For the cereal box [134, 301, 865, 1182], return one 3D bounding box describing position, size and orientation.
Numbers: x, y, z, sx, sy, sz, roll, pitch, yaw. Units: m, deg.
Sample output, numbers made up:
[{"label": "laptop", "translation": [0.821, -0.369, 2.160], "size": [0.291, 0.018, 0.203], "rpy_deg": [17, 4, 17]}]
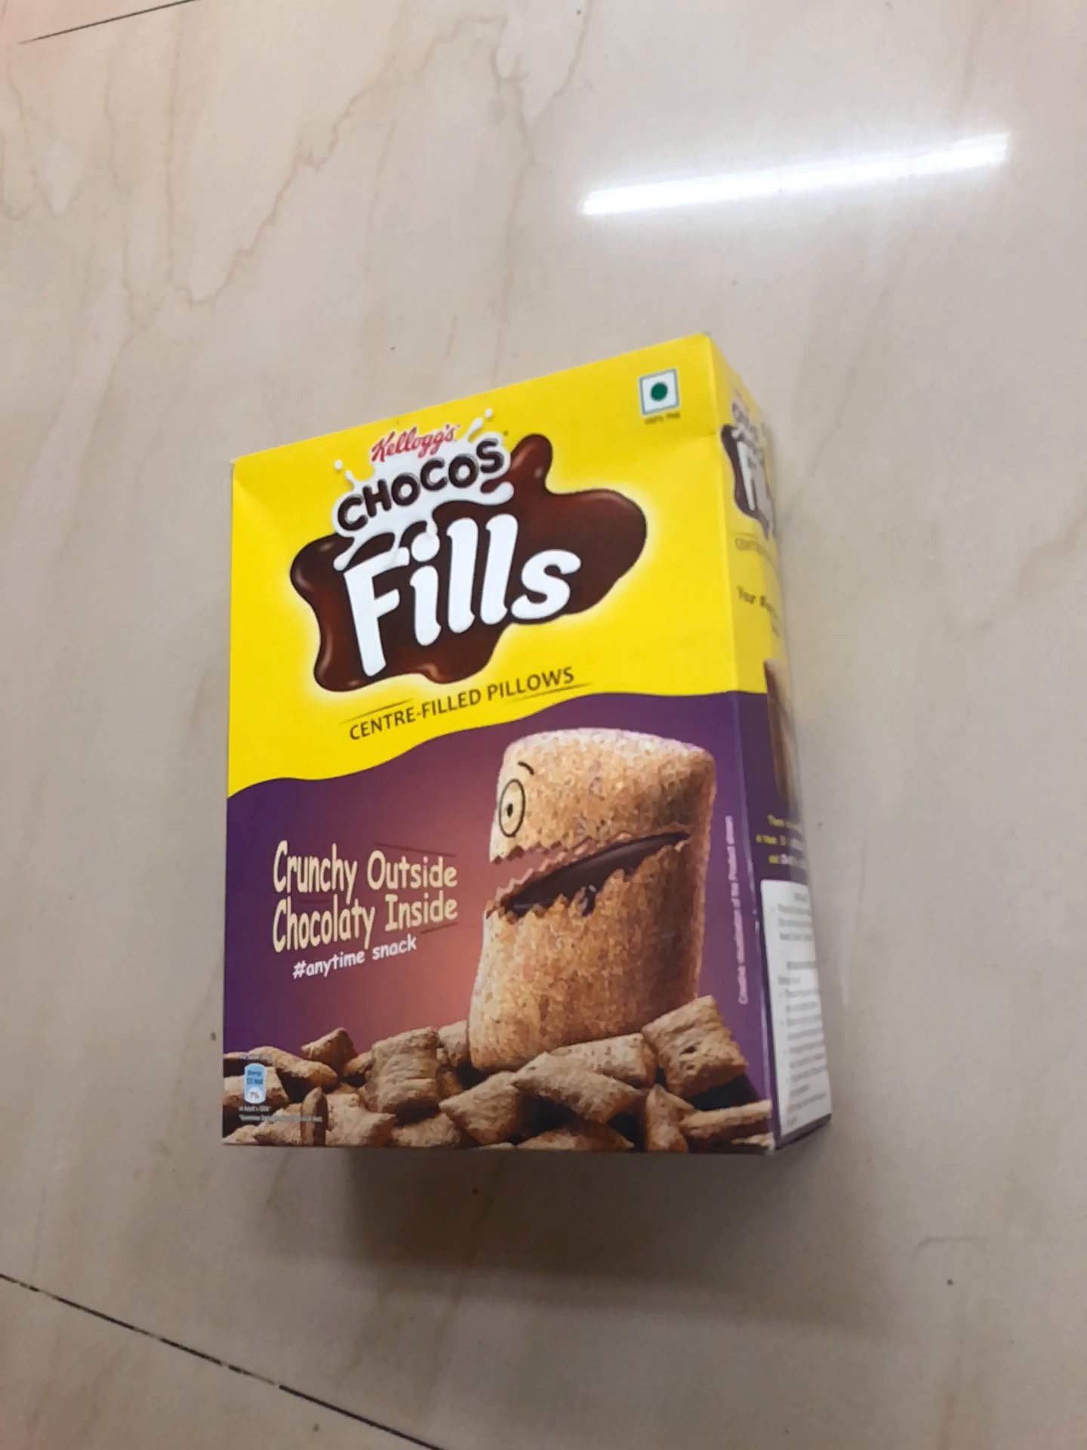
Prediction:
[{"label": "cereal box", "translation": [-0.020, 0.015, 0.373], "size": [0.200, 0.070, 0.230], "rpy_deg": [-9, 73, 24]}]
